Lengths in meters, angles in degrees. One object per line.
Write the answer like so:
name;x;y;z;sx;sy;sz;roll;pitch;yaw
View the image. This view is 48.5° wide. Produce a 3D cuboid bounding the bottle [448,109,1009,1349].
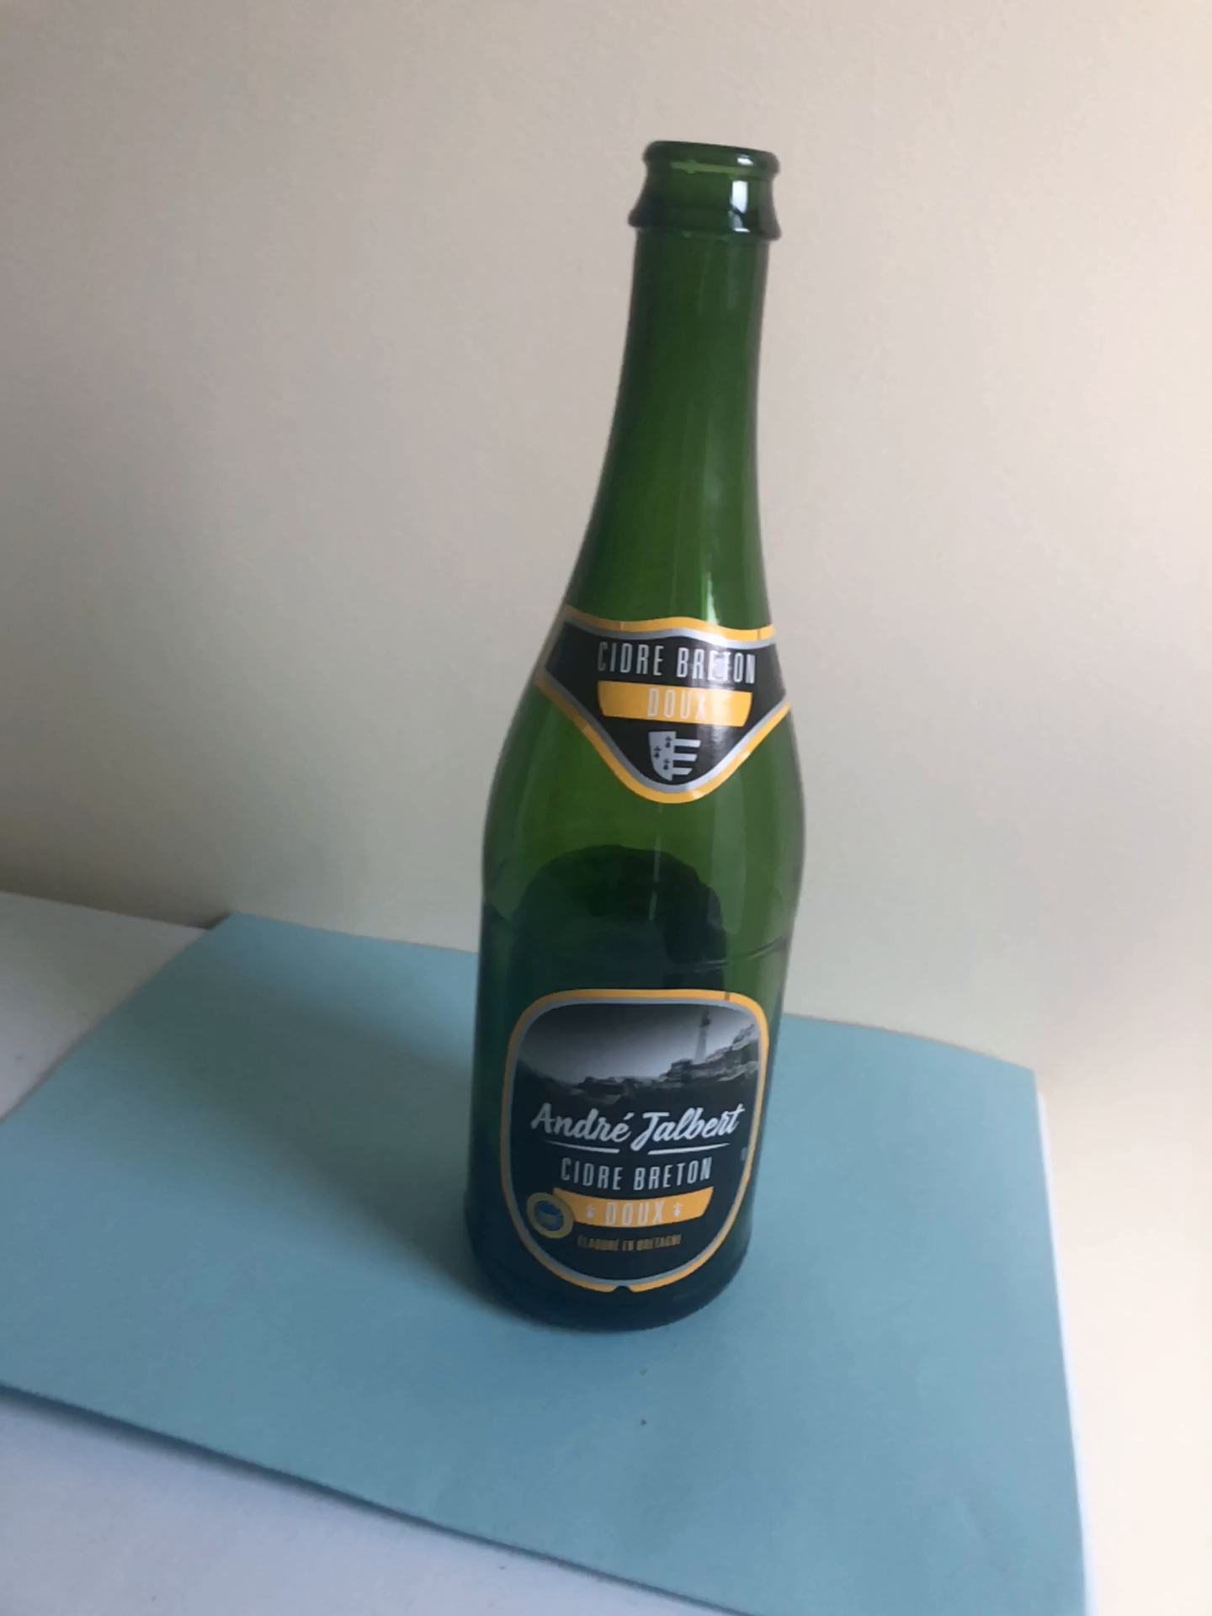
bottle;0.013;-0.006;0.325;0.090;0.278;0.080;3;24;-4
